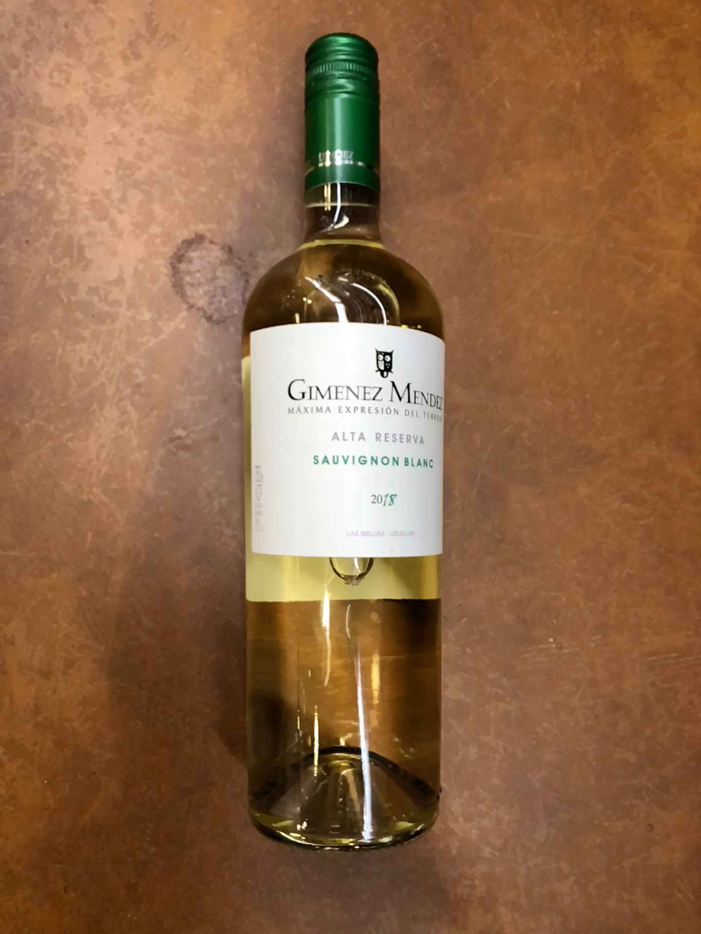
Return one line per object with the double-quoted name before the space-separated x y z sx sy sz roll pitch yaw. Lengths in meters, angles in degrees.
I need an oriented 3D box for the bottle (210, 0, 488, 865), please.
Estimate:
"bottle" -0.003 -0.022 0.288 0.090 0.050 0.300 0 86 -6
